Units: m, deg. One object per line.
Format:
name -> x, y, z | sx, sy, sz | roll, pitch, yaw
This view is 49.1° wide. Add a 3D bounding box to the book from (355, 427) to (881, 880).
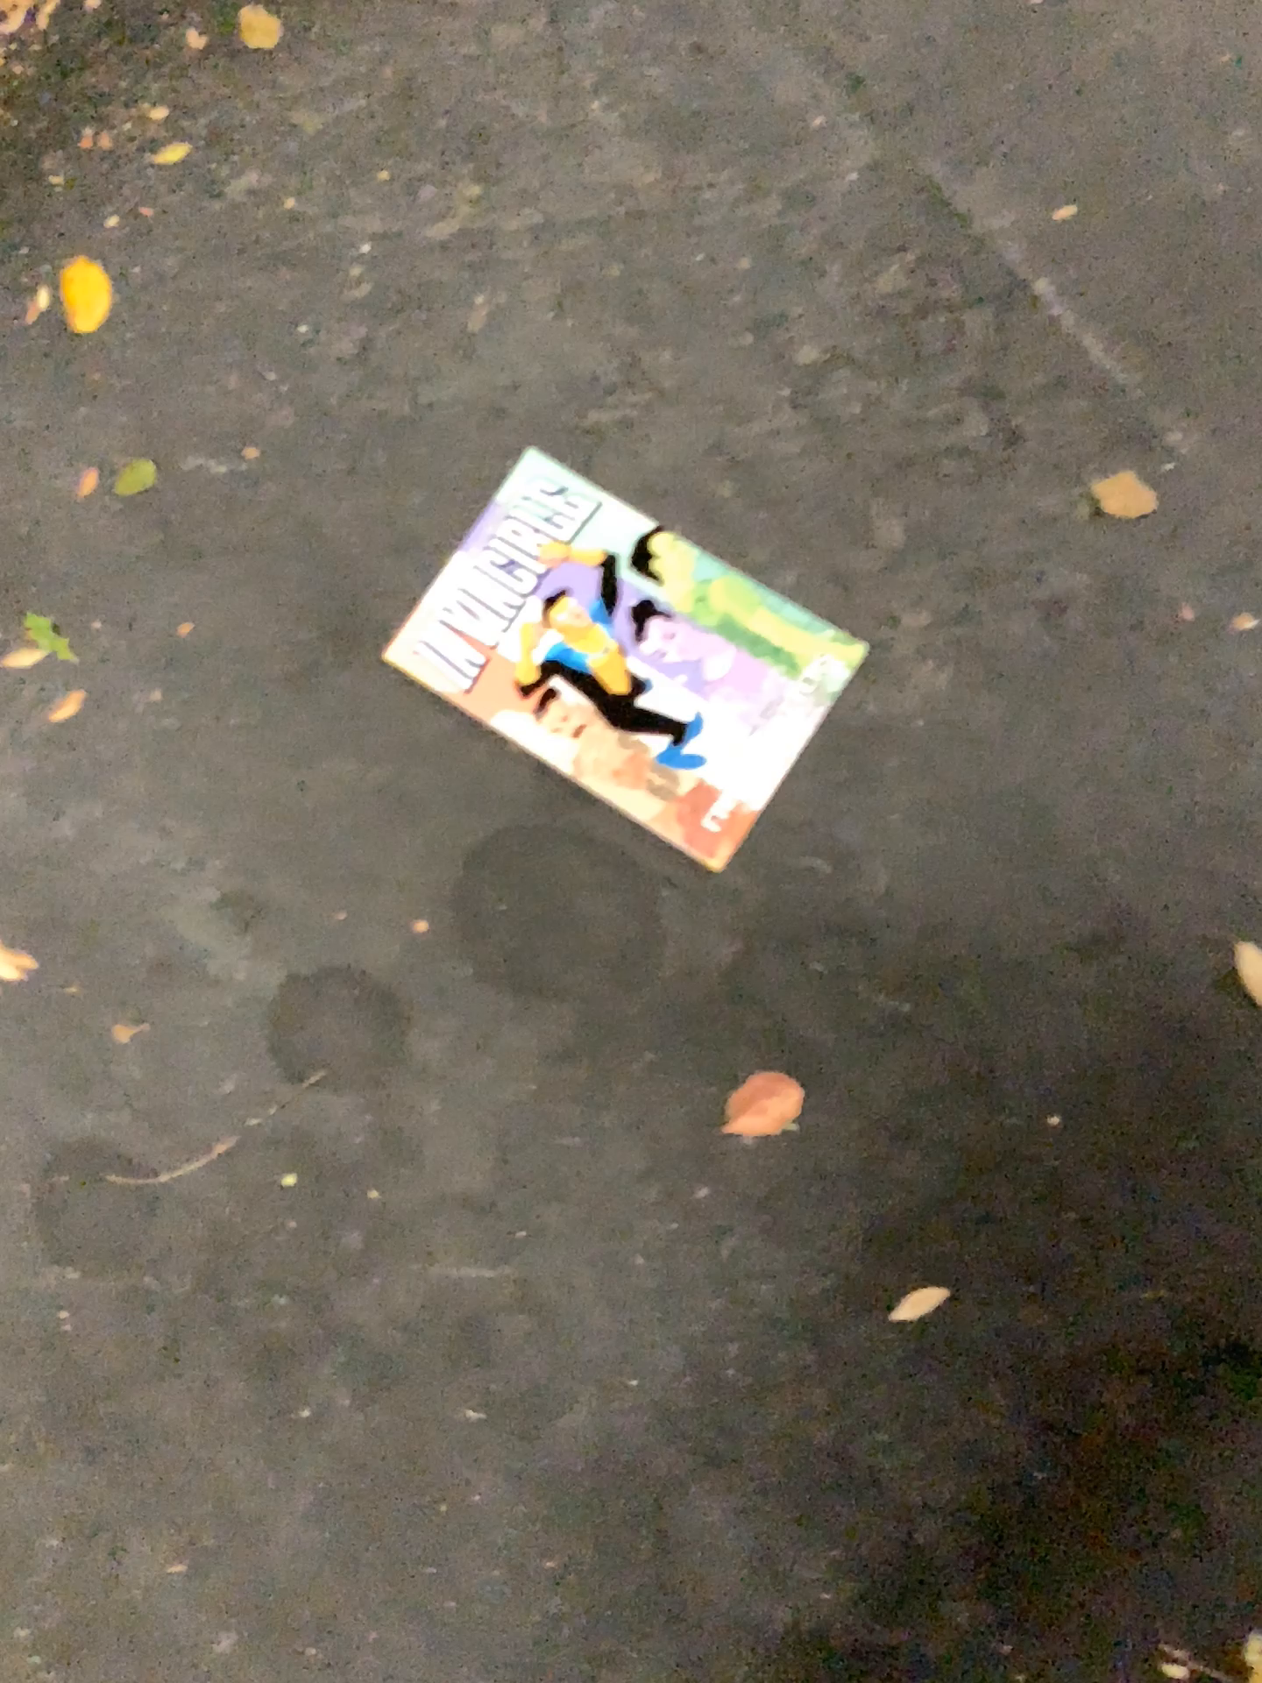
book -> -0.010, -0.122, 0.853 | 0.270, 0.020, 0.180 | 31, 82, 14
